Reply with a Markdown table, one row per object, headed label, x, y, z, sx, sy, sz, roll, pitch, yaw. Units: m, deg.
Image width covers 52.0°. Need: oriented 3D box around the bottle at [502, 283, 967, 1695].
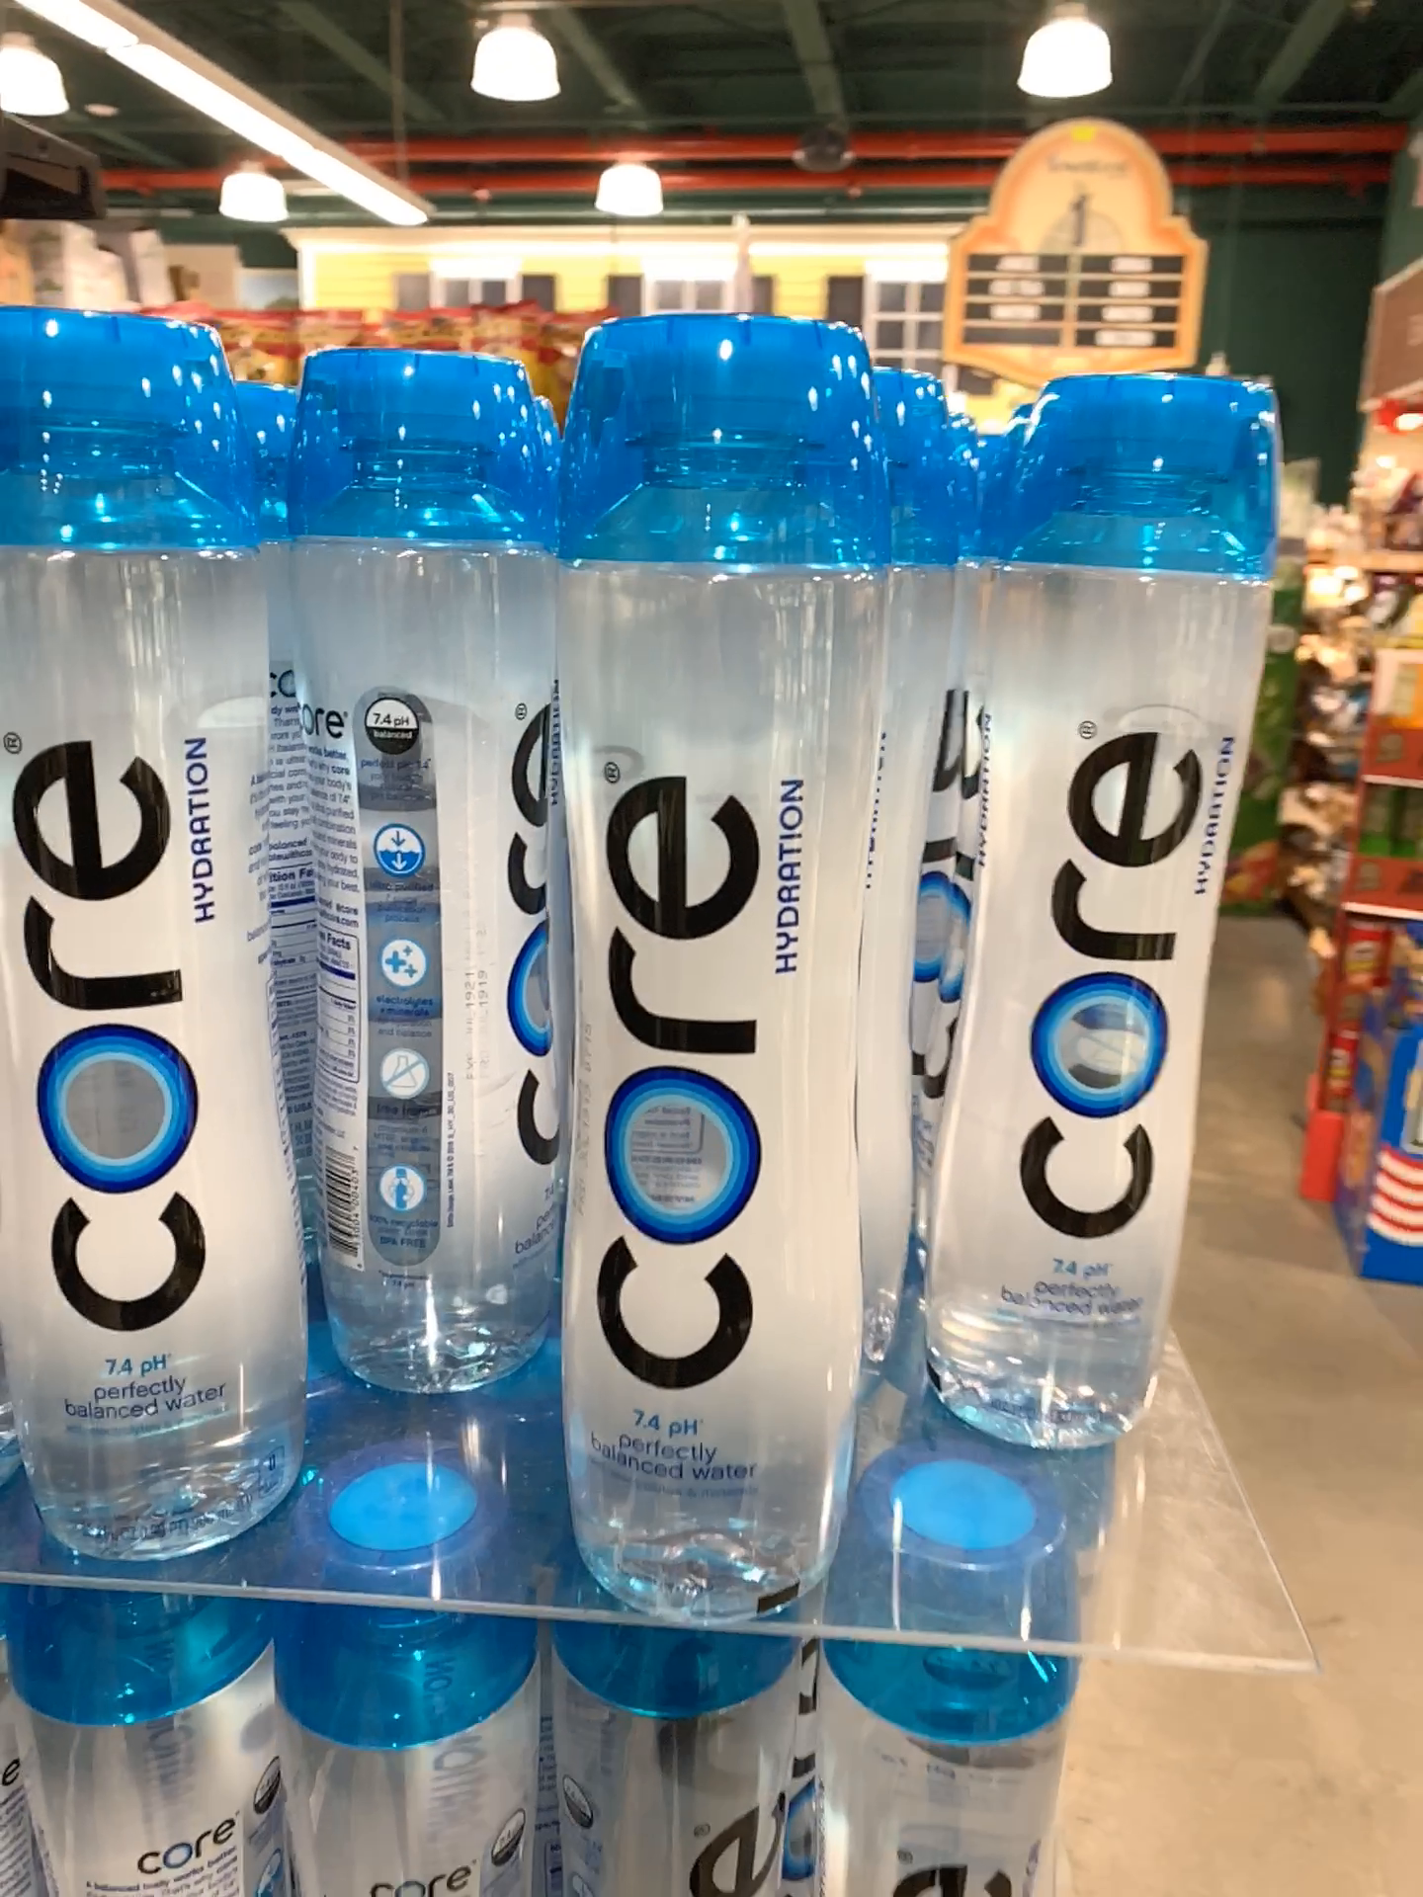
| label | x | y | z | sx | sy | sz | roll | pitch | yaw |
| --- | --- | --- | --- | --- | --- | --- | --- | --- | --- |
| bottle | 0.006 | 0.011 | 0.338 | 0.080 | 0.289 | 0.090 | 5 | 15 | 12 |
